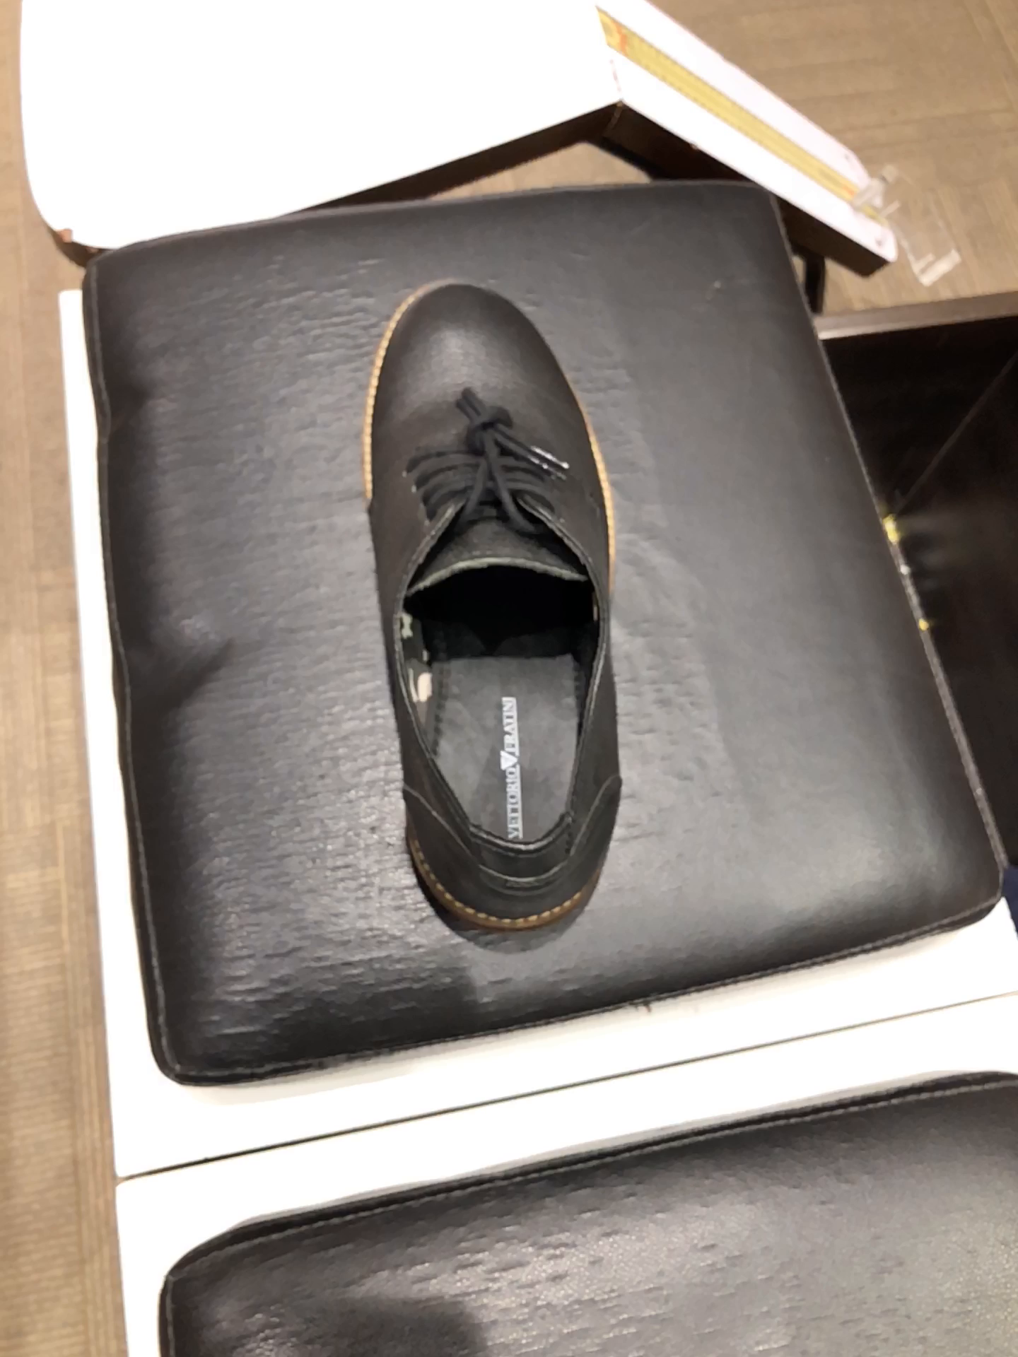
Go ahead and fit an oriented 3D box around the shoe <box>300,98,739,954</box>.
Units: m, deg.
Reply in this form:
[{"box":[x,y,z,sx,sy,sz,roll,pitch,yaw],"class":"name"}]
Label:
[{"box":[-0.008,-0.059,0.414,0.110,0.100,0.291,-5,69,-5],"class":"shoe"}]
